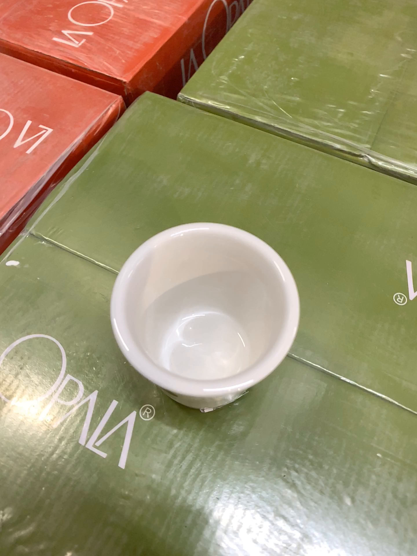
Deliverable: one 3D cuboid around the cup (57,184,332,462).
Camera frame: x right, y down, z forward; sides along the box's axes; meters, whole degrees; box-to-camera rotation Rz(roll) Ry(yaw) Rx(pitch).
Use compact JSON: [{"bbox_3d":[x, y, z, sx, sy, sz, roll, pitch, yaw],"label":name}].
[{"bbox_3d":[-0.007,0.018,0.173,0.070,0.060,0.070,0,59,0],"label":"cup"}]
